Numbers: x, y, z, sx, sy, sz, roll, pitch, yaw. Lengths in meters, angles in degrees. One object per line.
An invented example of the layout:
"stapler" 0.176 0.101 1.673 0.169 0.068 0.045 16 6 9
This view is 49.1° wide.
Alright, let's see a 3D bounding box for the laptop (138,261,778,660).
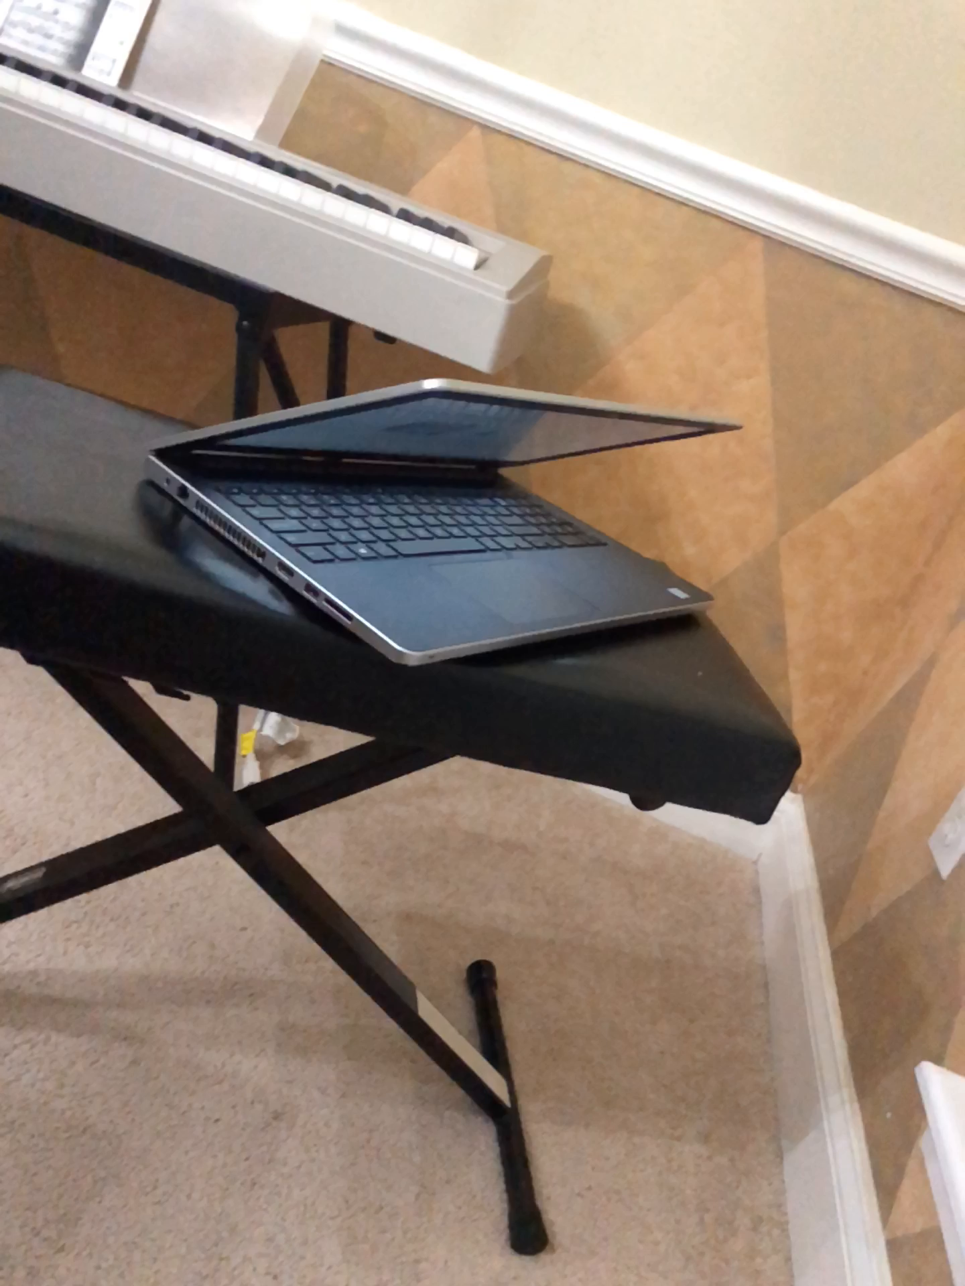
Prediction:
"laptop" 0.001 -0.135 0.768 0.256 0.132 0.377 36 27 28
